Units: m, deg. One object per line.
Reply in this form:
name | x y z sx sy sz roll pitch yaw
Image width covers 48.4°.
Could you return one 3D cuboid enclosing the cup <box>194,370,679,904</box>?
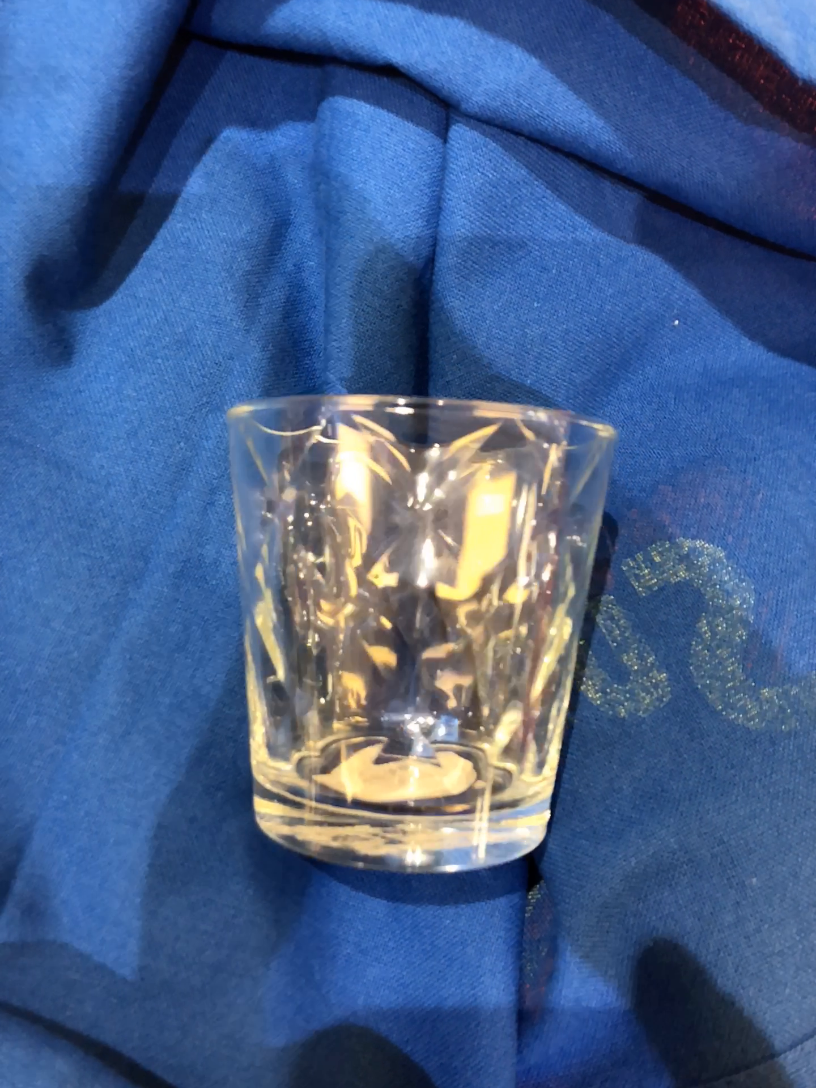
cup | 0.001 0.015 0.192 0.080 0.070 0.090 3 95 -9
